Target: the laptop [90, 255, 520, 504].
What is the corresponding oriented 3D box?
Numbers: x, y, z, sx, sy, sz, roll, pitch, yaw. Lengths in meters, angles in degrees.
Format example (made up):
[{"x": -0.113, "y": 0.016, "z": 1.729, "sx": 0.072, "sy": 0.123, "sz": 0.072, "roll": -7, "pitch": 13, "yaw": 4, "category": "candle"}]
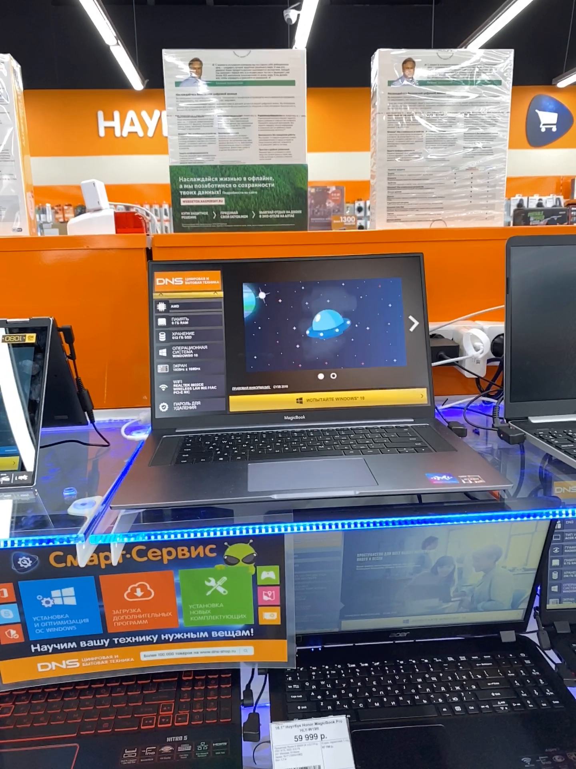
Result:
[{"x": 0.011, "y": -0.036, "z": 0.673, "sx": 0.368, "sy": 0.207, "sz": 0.315, "roll": -2, "pitch": 12, "yaw": -3, "category": "laptop"}]
